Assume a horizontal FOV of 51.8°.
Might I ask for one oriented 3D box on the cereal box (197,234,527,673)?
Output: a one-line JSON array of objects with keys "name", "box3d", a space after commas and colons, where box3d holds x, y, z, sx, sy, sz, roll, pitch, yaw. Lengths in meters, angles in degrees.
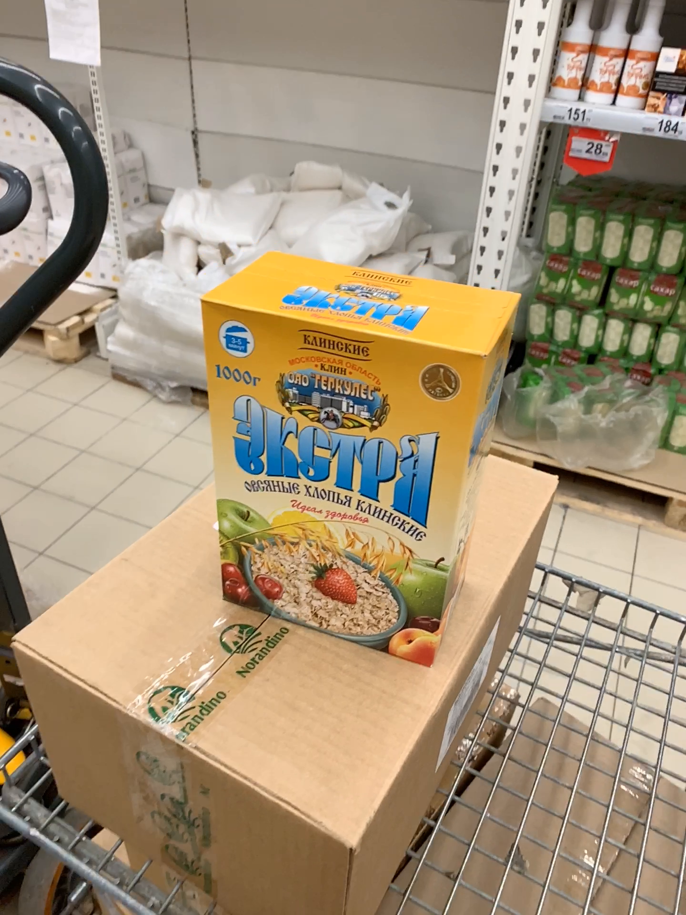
[{"name": "cereal box", "box3d": [0.009, 0.000, 0.460, 0.160, 0.239, 0.101, 14, 36, 15]}]
